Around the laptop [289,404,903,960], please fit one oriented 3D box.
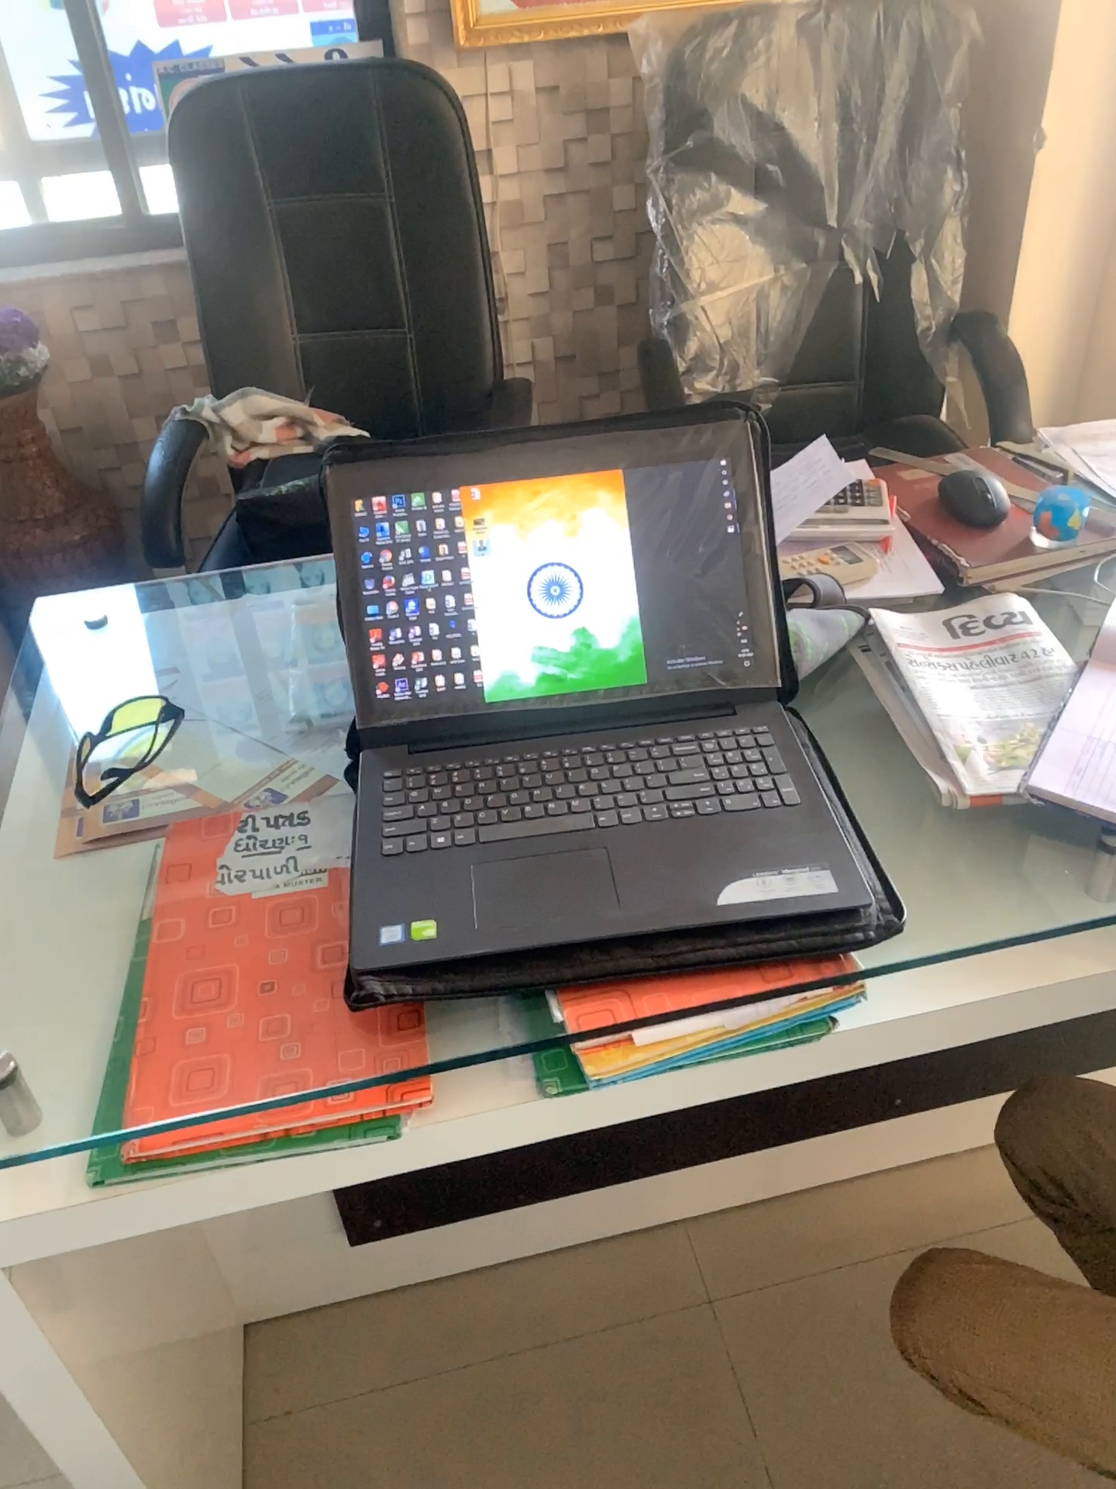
[{"bbox_3d":[0.007,-0.071,0.820,0.334,0.175,0.392,-6,38,-2],"label":"laptop"}]
